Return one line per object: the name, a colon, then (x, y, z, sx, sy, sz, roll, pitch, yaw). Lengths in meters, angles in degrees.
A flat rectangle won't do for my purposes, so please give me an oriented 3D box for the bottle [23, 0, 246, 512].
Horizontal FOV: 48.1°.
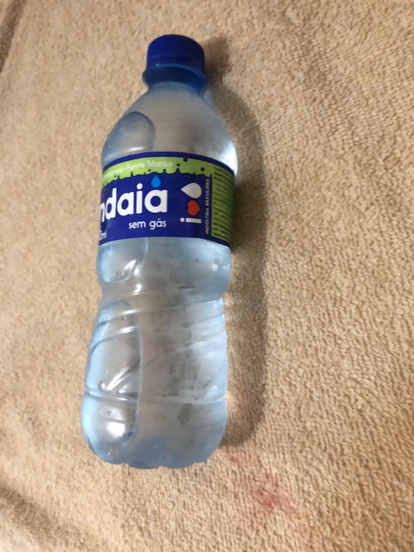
bottle: (-0.031, -0.020, 0.213, 0.080, 0.050, 0.210, -7, 77, 41)
